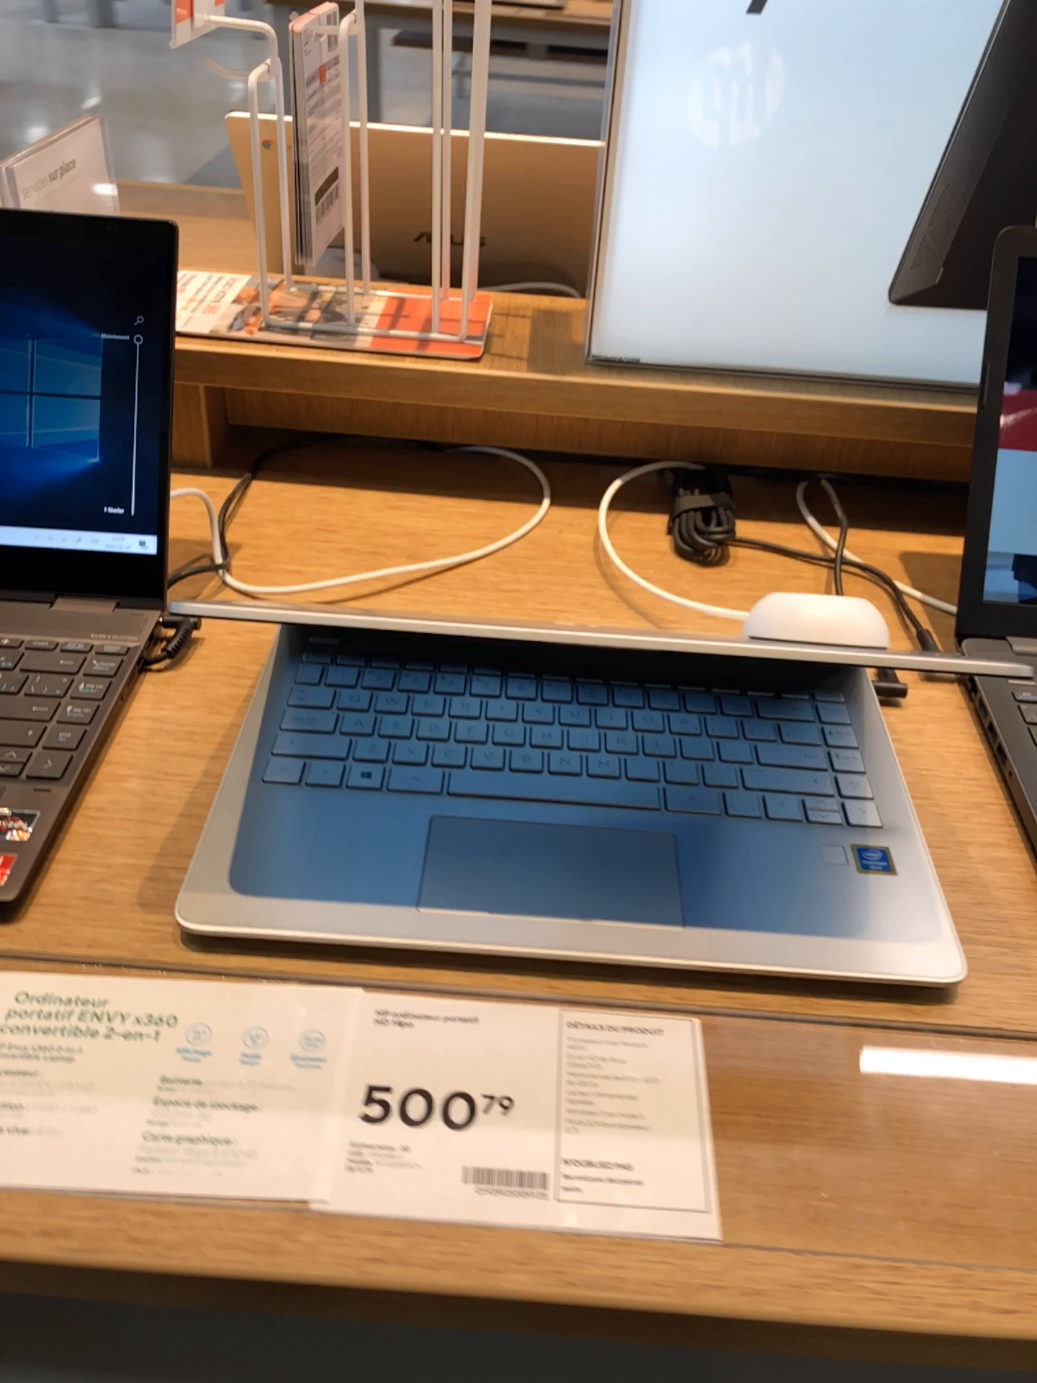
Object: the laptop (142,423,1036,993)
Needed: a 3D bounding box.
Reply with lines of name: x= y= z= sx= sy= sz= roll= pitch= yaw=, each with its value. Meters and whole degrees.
laptop: x=0.031 y=-0.005 z=0.502 sx=0.314 sy=0.110 sz=0.217 roll=4 pitch=39 yaw=0
